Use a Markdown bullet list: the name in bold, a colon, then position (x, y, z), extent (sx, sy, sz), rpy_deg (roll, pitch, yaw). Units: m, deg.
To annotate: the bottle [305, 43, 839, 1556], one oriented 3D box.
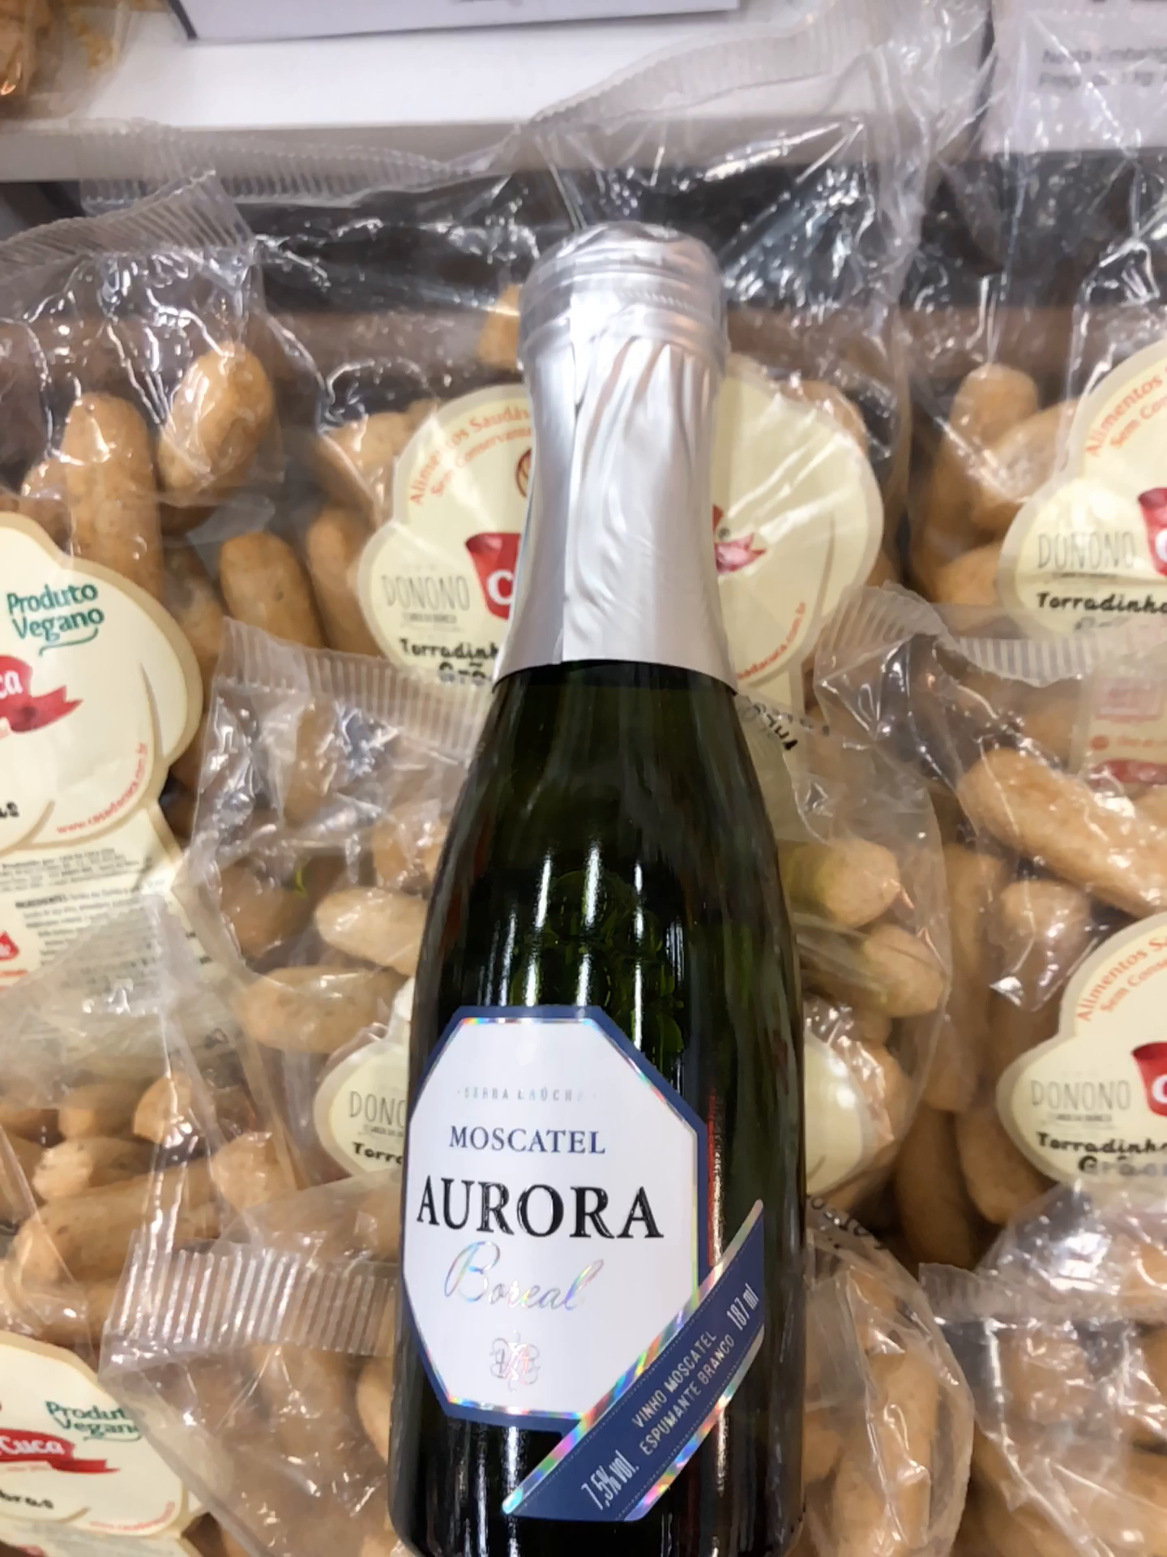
- **bottle**: position (0.002, 0.009, 0.182), extent (0.060, 0.050, 0.200), rpy_deg (1, 84, 5)
